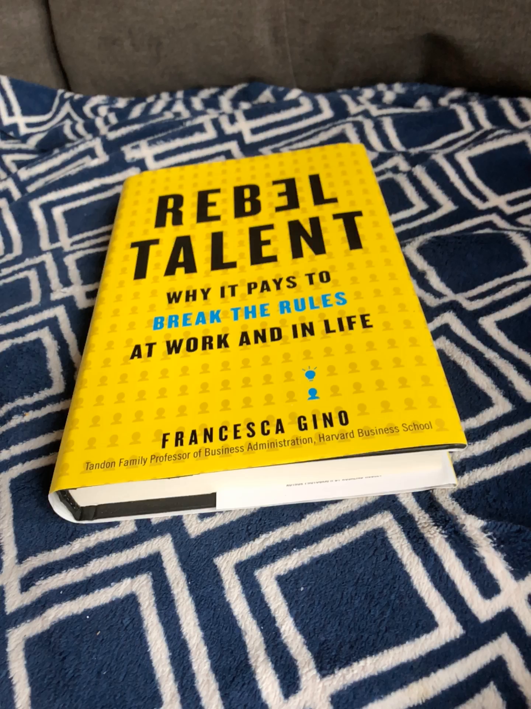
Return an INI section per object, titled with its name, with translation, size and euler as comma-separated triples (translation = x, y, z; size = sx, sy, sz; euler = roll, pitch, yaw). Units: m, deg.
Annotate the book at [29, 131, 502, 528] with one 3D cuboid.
[book]
translation = -0.006, -0.036, 0.303
size = 0.167, 0.032, 0.237
euler = -6, 45, 2
